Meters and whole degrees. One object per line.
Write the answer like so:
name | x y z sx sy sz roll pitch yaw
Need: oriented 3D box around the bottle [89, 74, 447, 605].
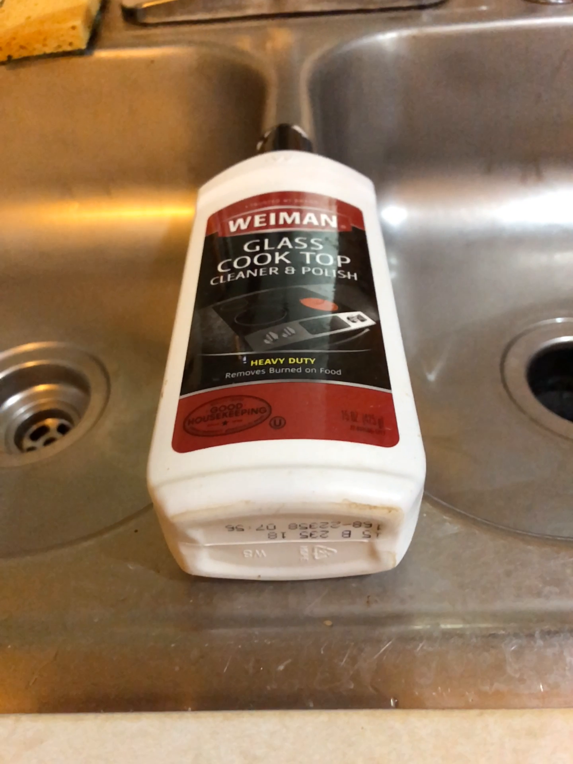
bottle | -0.004 -0.043 0.246 0.080 0.050 0.240 -3 46 3
